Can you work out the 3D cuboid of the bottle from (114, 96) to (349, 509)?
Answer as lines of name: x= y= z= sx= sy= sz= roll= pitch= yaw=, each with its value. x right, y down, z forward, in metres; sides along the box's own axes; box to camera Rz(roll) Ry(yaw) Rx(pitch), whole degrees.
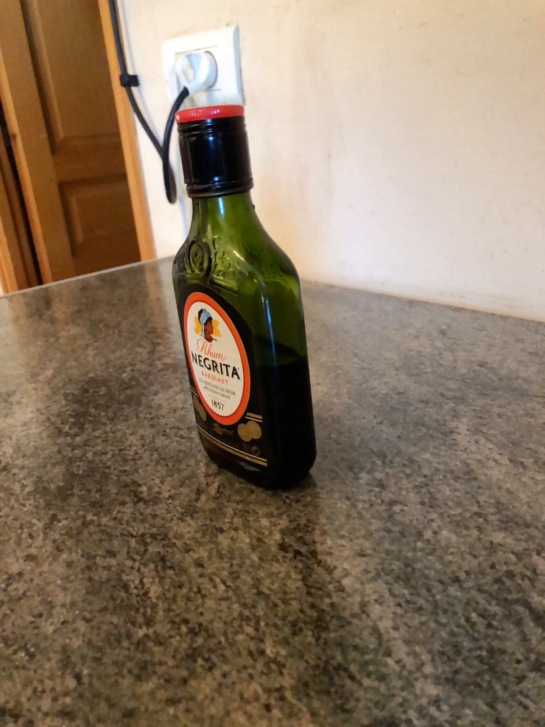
bottle: x=-0.016 y=-0.029 z=0.271 sx=0.050 sy=0.159 sz=0.080 roll=-21 pitch=25 yaw=-36
